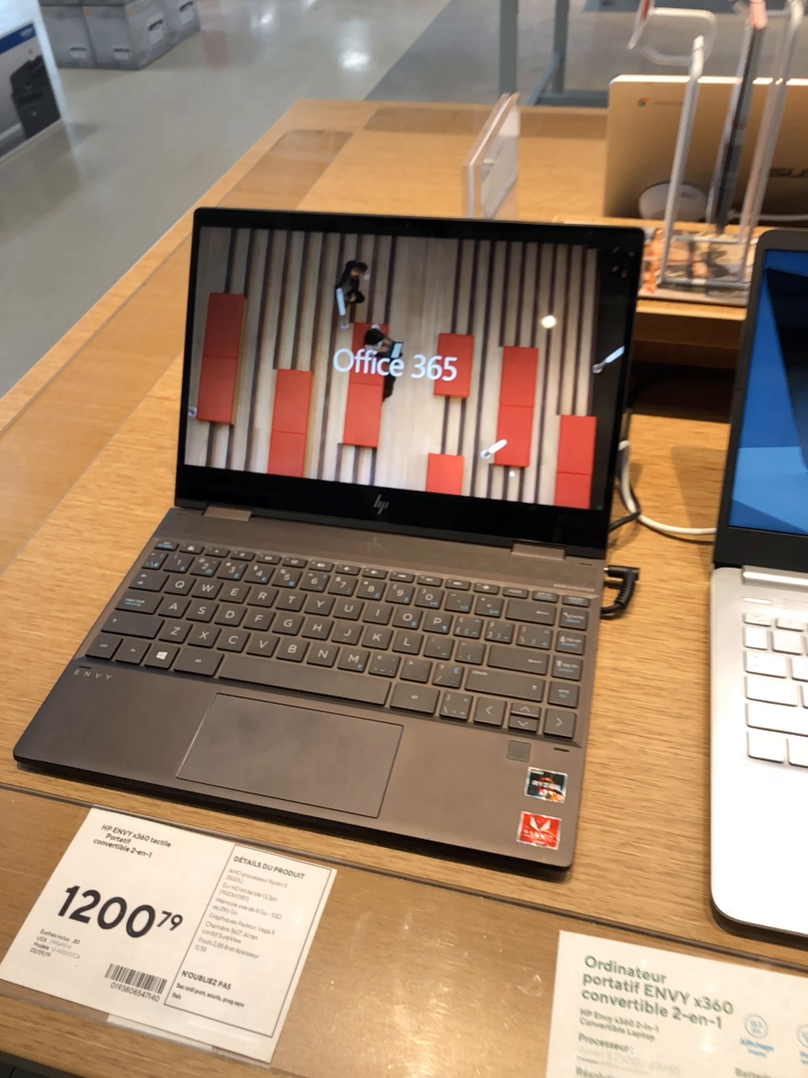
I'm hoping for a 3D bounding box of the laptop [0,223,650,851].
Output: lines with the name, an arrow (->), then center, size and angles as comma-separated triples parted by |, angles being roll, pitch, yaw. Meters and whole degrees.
laptop -> -0.028, -0.032, 0.519 | 0.293, 0.162, 0.319 | 7, 44, 13
